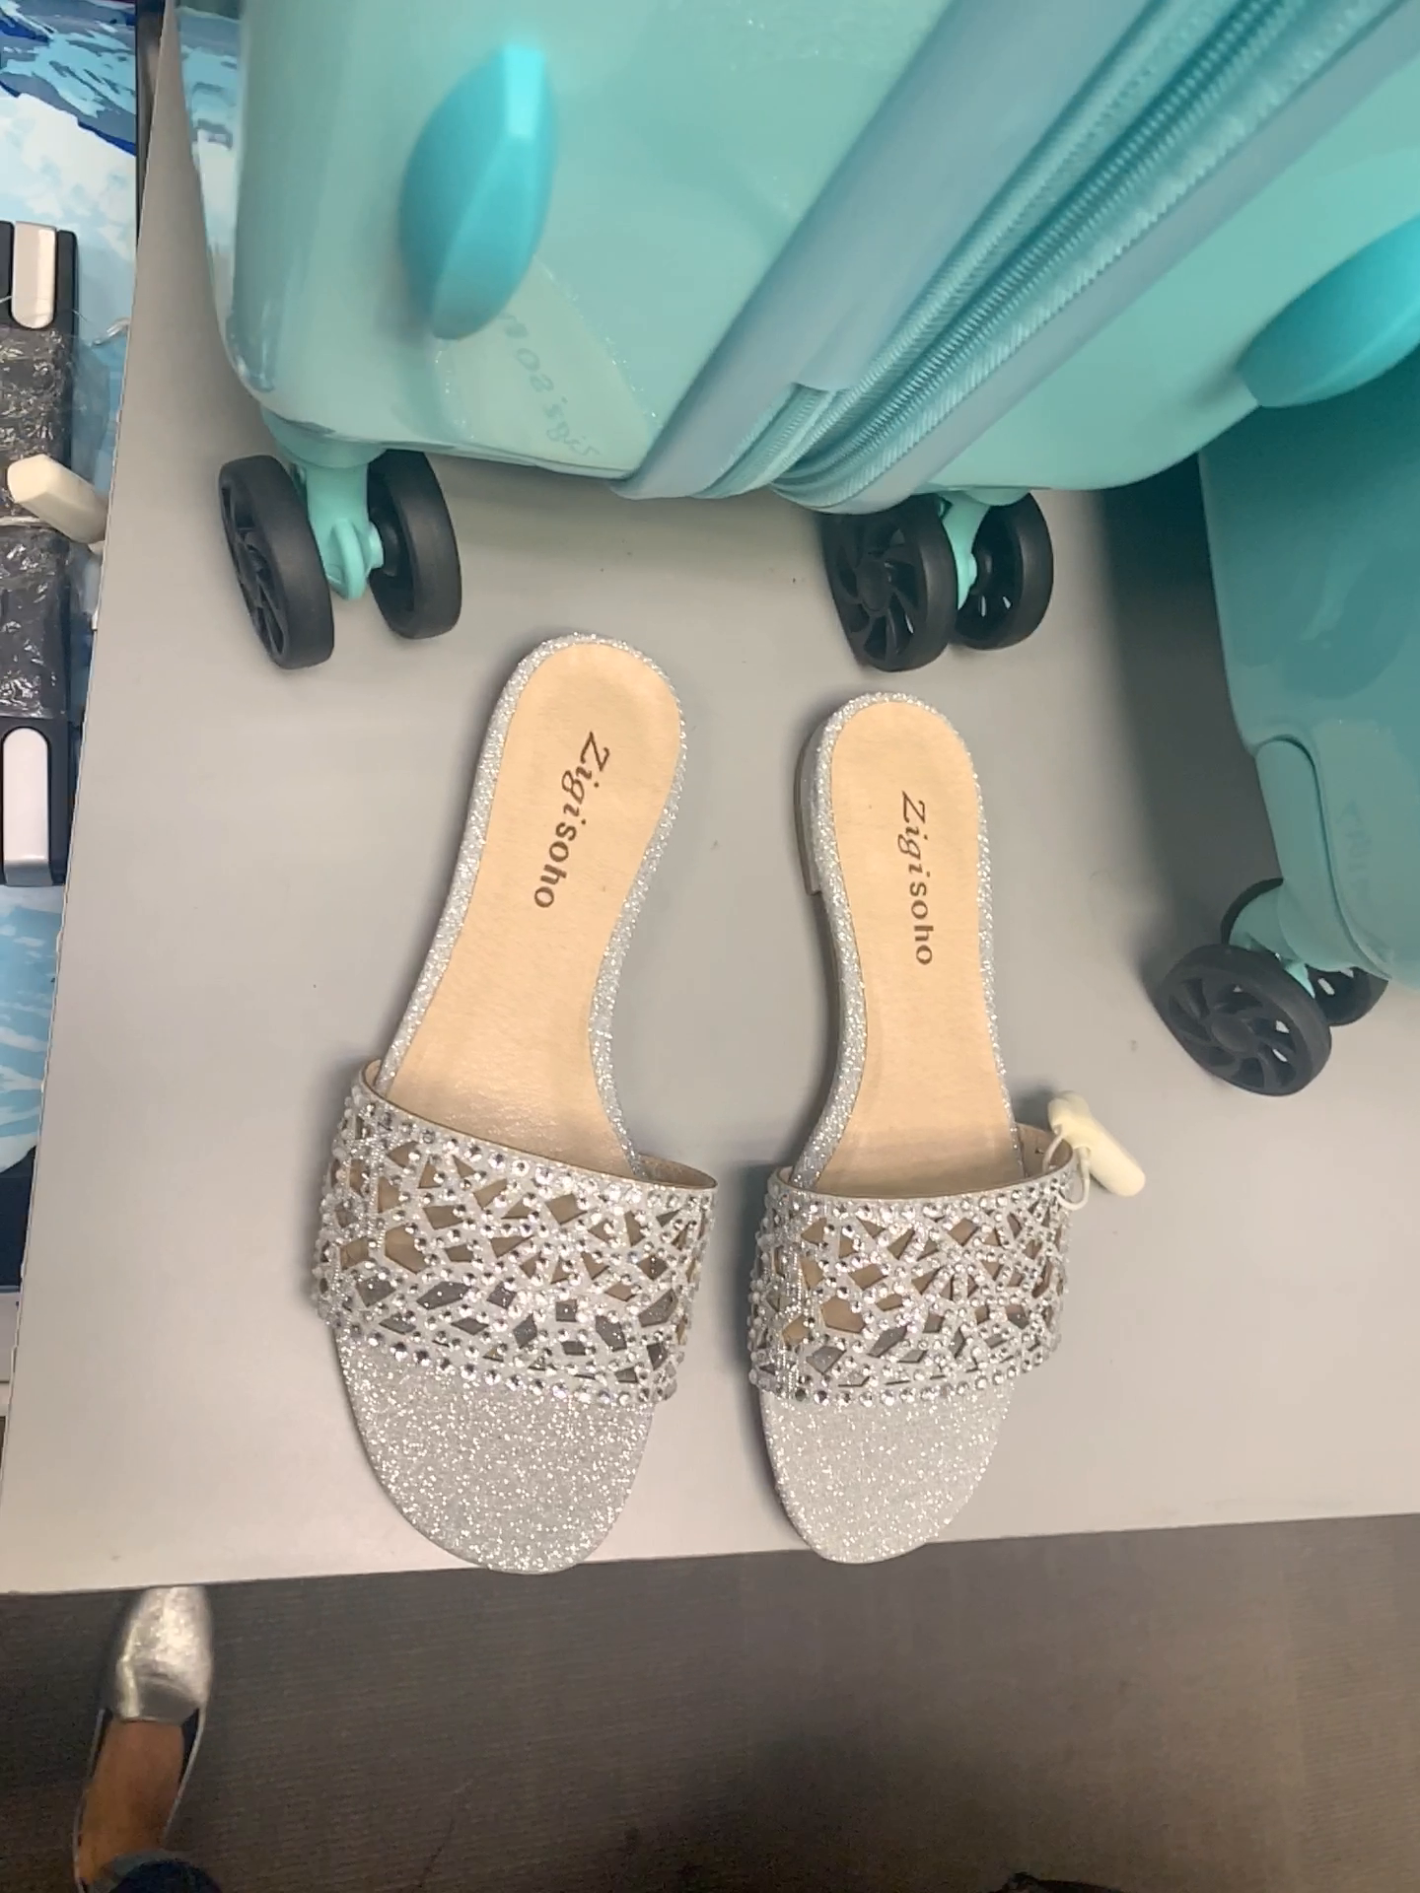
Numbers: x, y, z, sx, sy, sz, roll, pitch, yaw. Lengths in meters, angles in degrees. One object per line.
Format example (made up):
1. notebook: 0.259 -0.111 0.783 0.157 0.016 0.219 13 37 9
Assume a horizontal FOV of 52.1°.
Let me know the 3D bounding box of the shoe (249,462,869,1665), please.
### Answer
1. shoe: -0.032 0.025 0.335 0.100 0.061 0.243 11 76 -18

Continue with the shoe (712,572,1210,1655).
1. shoe: 0.065 0.040 0.368 0.099 0.061 0.242 8 77 -19
